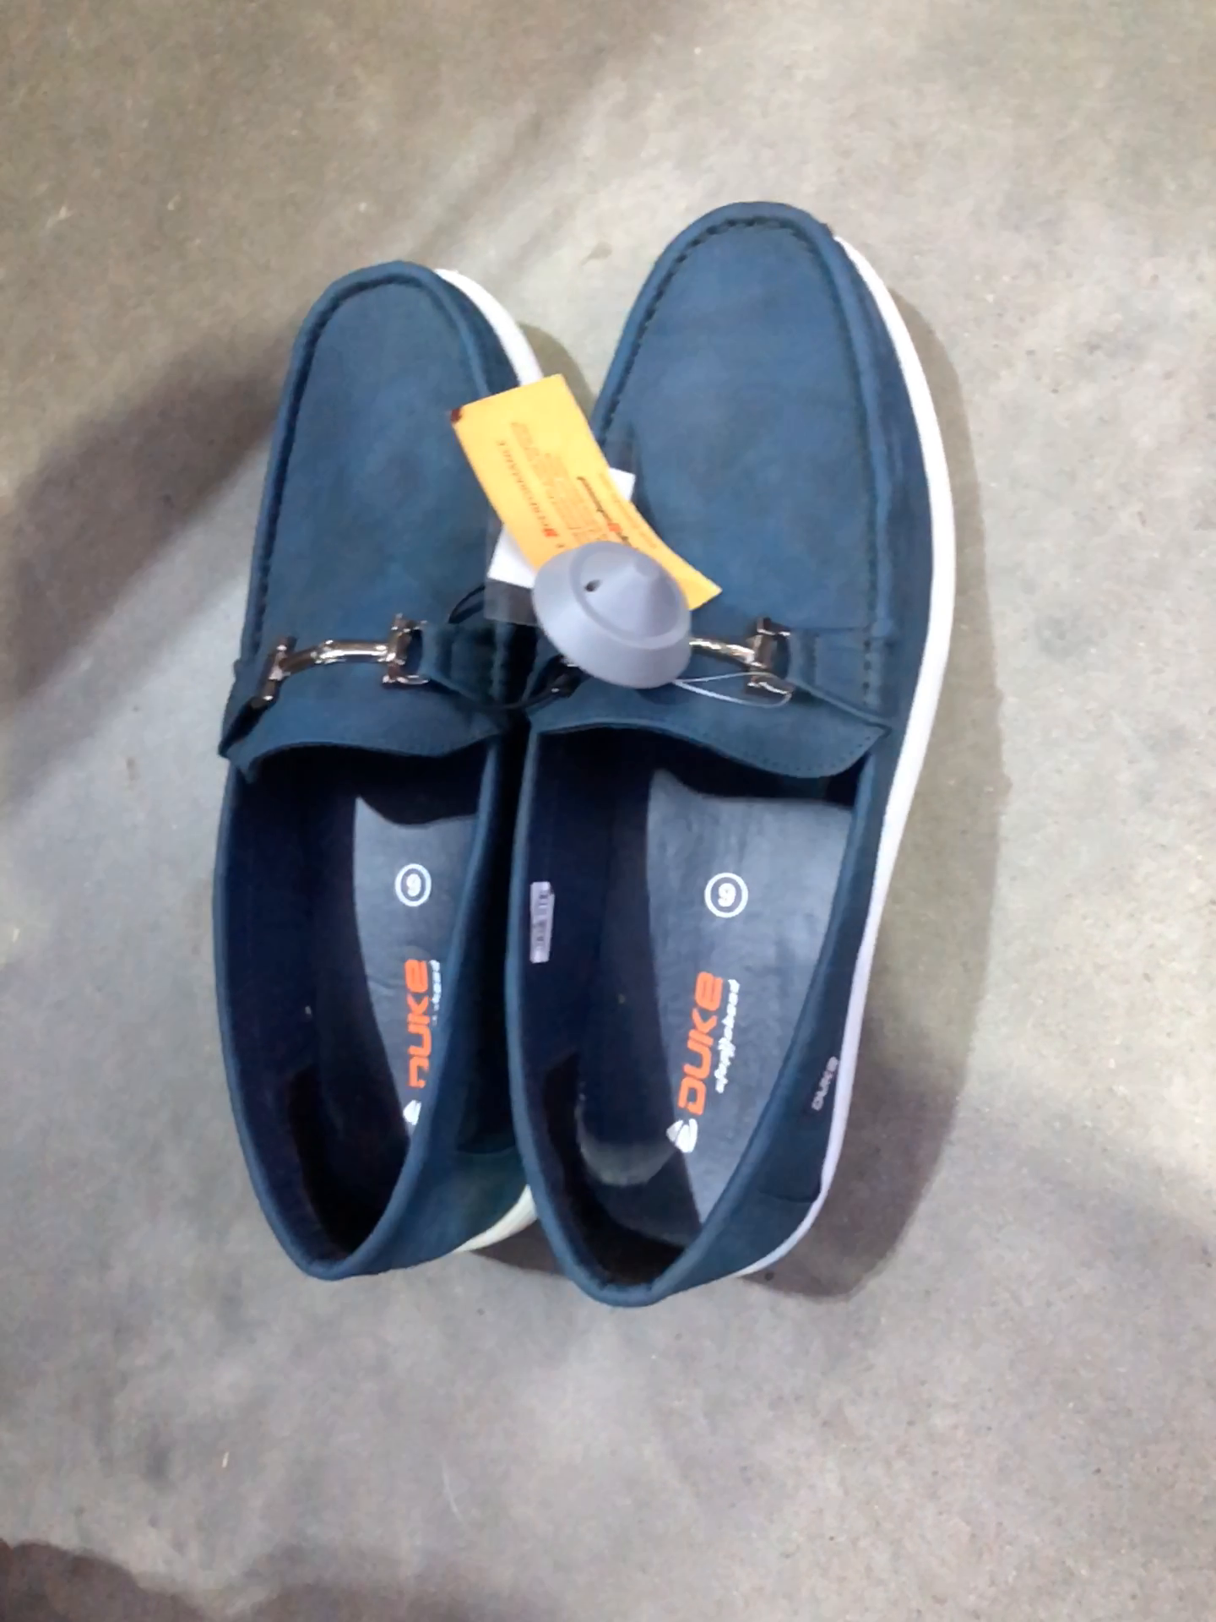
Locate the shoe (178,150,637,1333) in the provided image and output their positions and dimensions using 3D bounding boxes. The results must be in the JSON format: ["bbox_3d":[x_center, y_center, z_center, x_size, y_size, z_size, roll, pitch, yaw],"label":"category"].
[{"bbox_3d":[-0.058,-0.019,0.408,0.110,0.080,0.310,-2,86,19],"label":"shoe"}]

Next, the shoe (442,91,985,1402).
[{"bbox_3d":[0.034,-0.019,0.373,0.110,0.080,0.310,4,88,19],"label":"shoe"}]
